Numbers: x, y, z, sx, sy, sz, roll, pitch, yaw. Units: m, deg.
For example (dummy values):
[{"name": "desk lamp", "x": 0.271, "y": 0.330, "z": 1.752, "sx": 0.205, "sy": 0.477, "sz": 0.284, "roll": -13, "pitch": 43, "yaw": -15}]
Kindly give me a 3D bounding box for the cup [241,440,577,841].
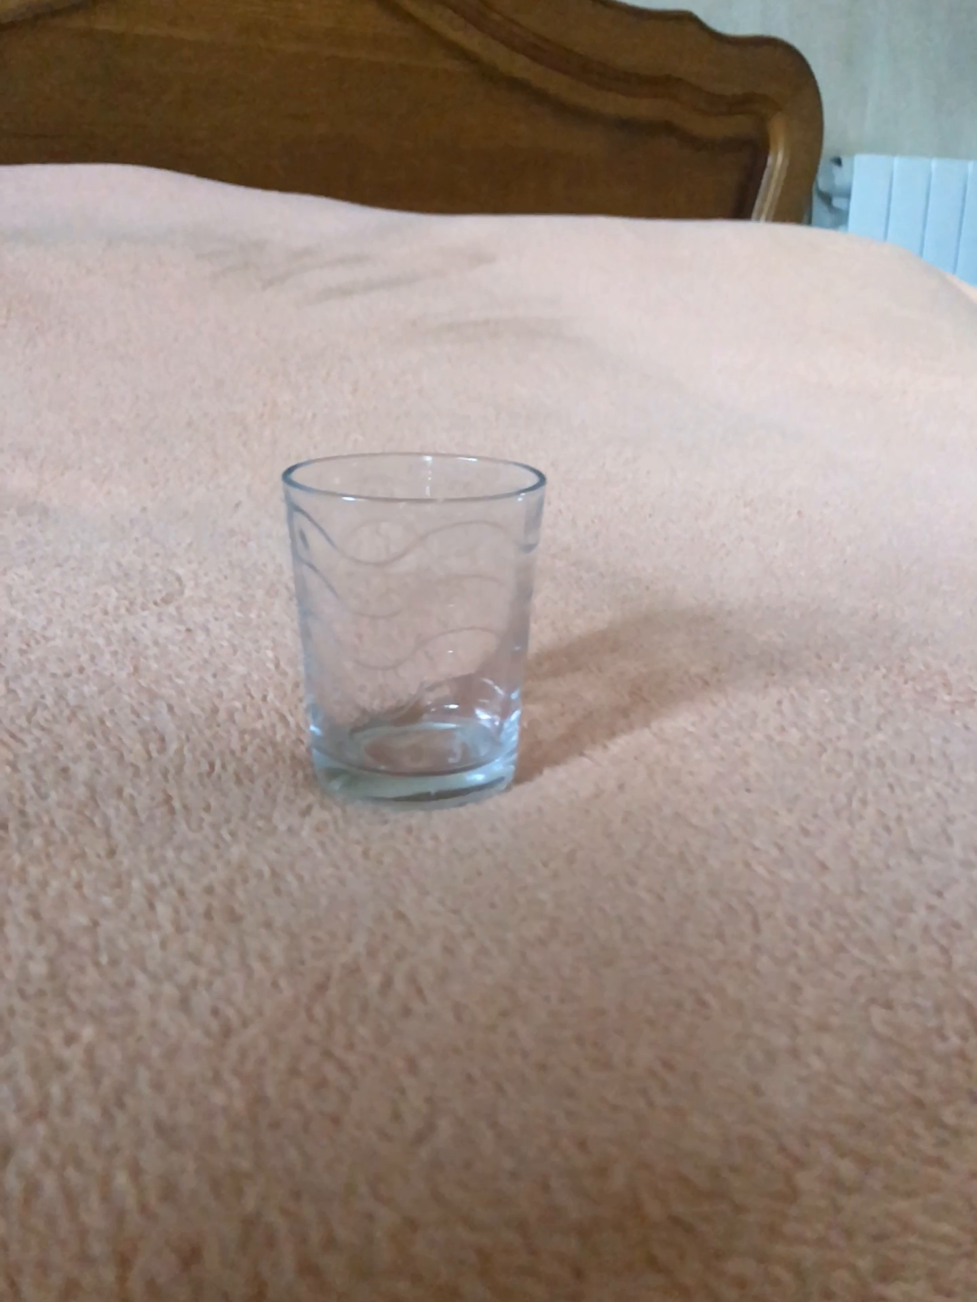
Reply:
[{"name": "cup", "x": -0.017, "y": -0.007, "z": 0.273, "sx": 0.060, "sy": 0.080, "sz": 0.060, "roll": 1, "pitch": 19, "yaw": 0}]
